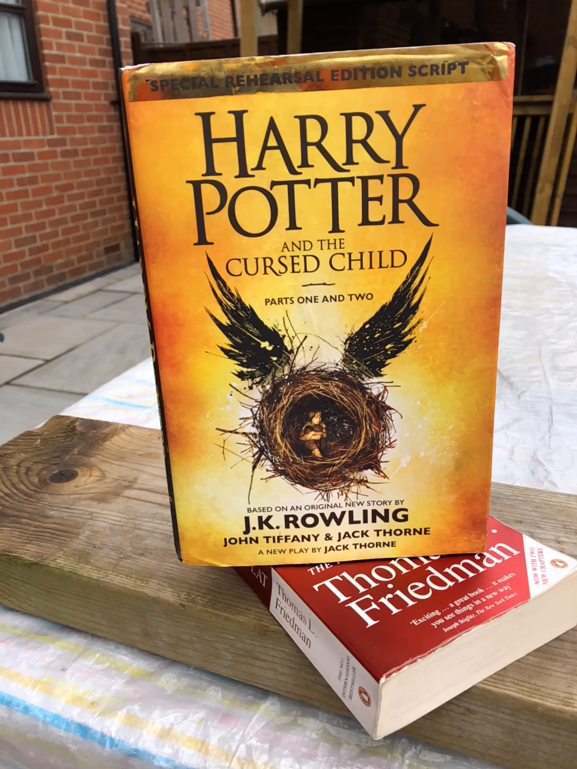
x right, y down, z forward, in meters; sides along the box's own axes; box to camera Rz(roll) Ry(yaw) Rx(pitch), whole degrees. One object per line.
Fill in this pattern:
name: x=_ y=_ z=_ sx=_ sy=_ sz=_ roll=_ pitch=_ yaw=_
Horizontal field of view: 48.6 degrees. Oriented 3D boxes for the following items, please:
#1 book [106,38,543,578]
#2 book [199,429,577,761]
book: x=0.016 y=-0.024 z=0.303 sx=0.170 sy=0.239 sz=0.040 roll=-1 pitch=17 yaw=2
book: x=0.048 y=0.092 z=0.358 sx=0.130 sy=0.040 sz=0.191 roll=-13 pitch=23 yaw=-26
